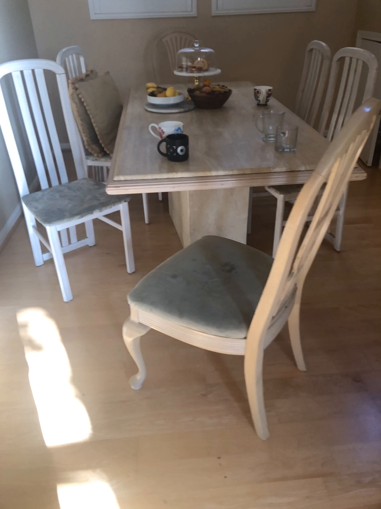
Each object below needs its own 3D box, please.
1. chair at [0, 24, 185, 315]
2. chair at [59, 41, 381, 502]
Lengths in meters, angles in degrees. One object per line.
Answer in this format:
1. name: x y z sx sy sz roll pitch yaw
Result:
1. chair: -0.530 -0.510 2.470 0.633 1.448 0.672 -23 35 -30
2. chair: 0.108 0.052 1.411 0.631 1.289 0.595 21 38 29
